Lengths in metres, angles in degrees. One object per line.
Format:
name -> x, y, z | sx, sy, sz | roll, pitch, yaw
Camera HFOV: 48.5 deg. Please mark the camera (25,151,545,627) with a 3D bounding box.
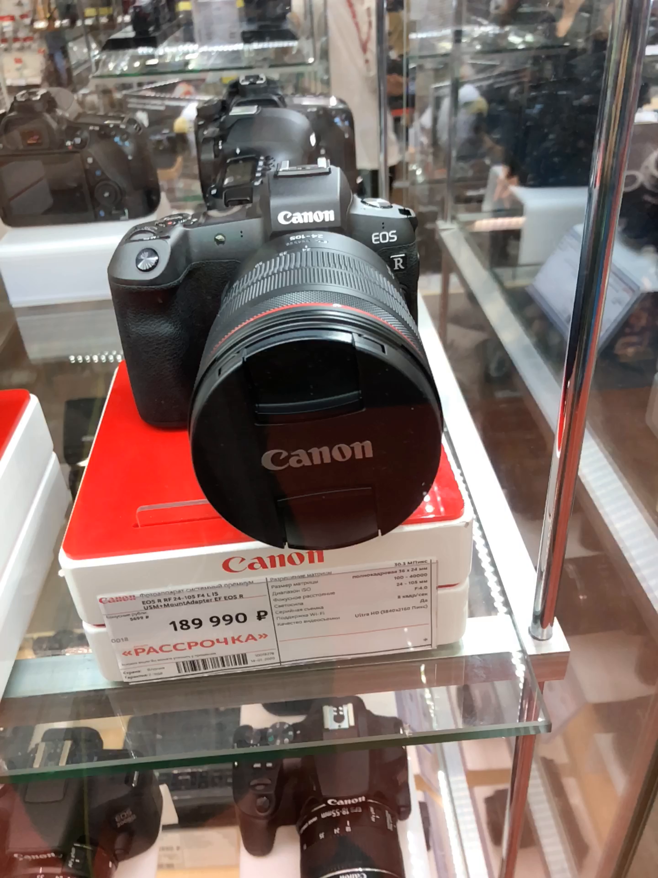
camera -> -0.014, -0.037, 0.303 | 0.140, 0.110, 0.184 | -5, 33, -1
